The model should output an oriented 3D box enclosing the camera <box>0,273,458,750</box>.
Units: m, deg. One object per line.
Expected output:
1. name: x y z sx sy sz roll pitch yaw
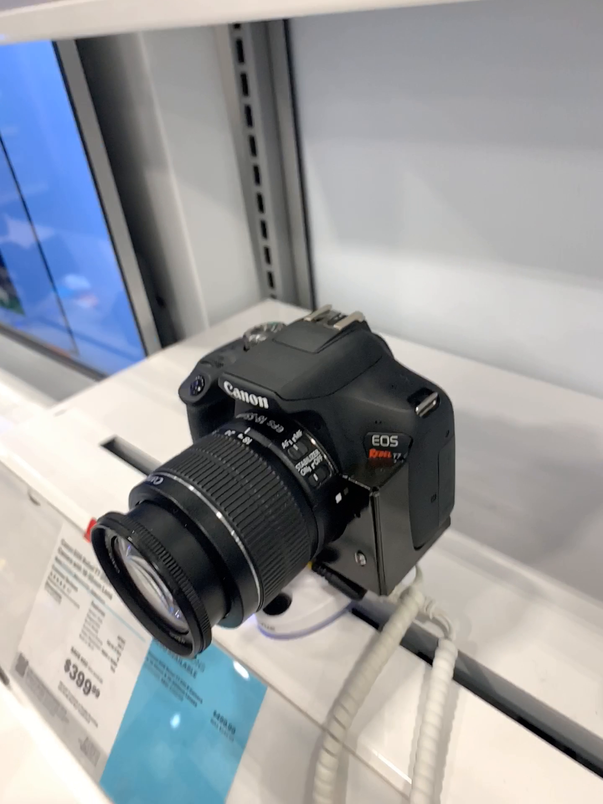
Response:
1. camera: -0.026 0.027 0.270 0.126 0.099 0.141 22 43 39
